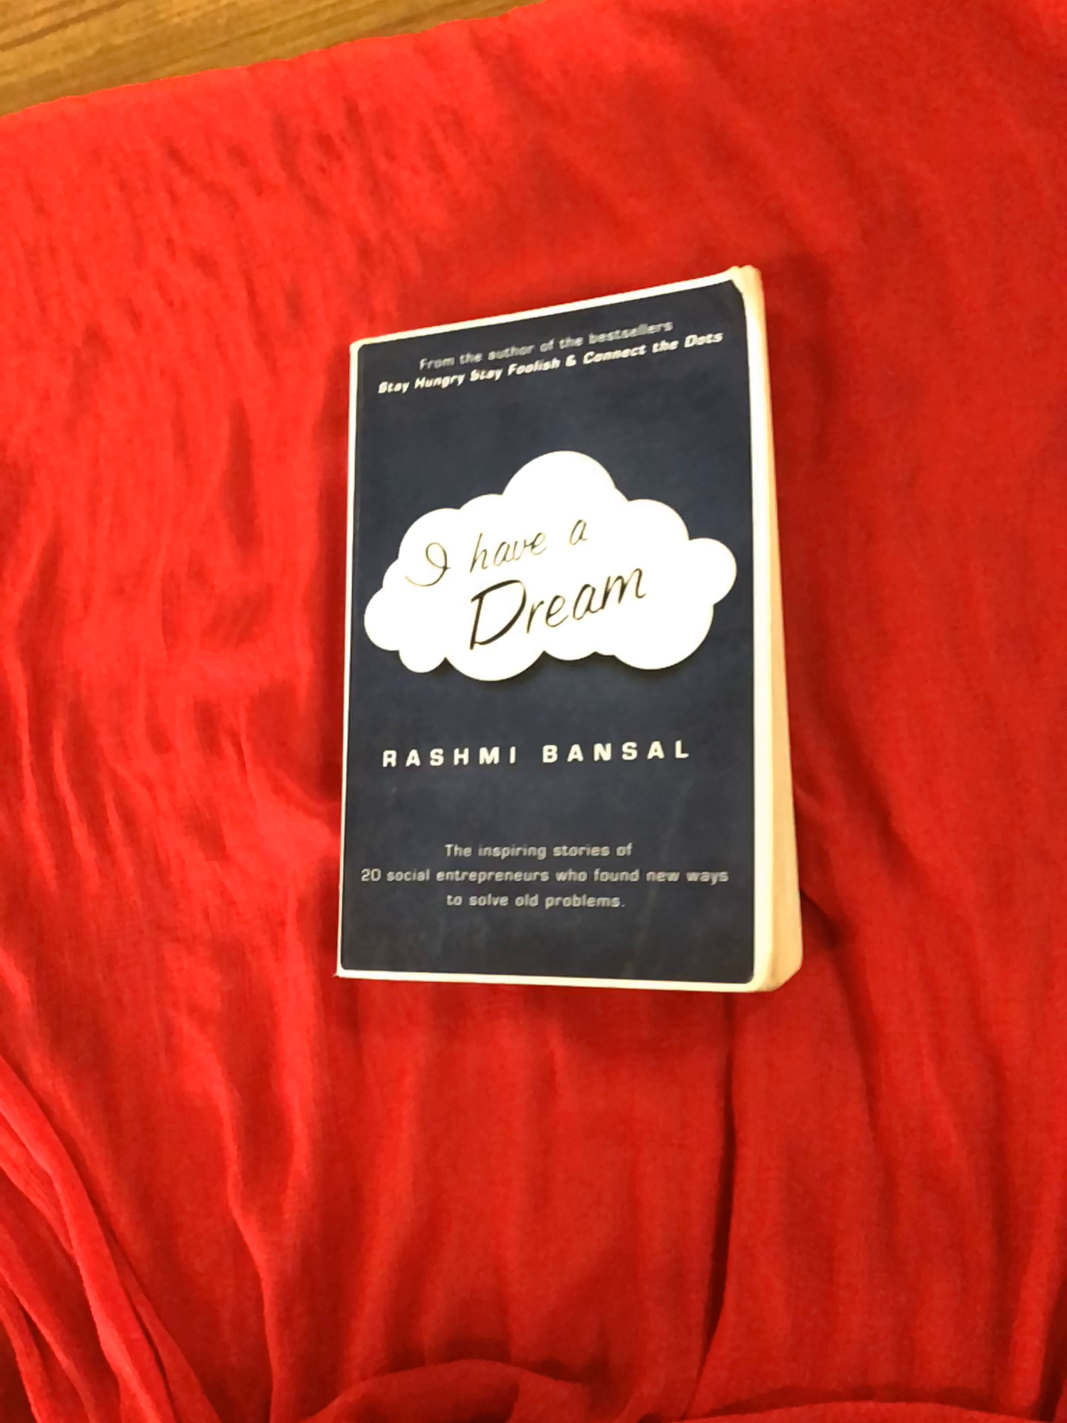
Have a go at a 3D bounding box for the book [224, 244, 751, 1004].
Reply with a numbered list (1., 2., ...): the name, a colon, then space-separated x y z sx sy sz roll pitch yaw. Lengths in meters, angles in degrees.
1. book: -0.014 -0.019 0.337 0.140 0.040 0.190 -4 80 24
